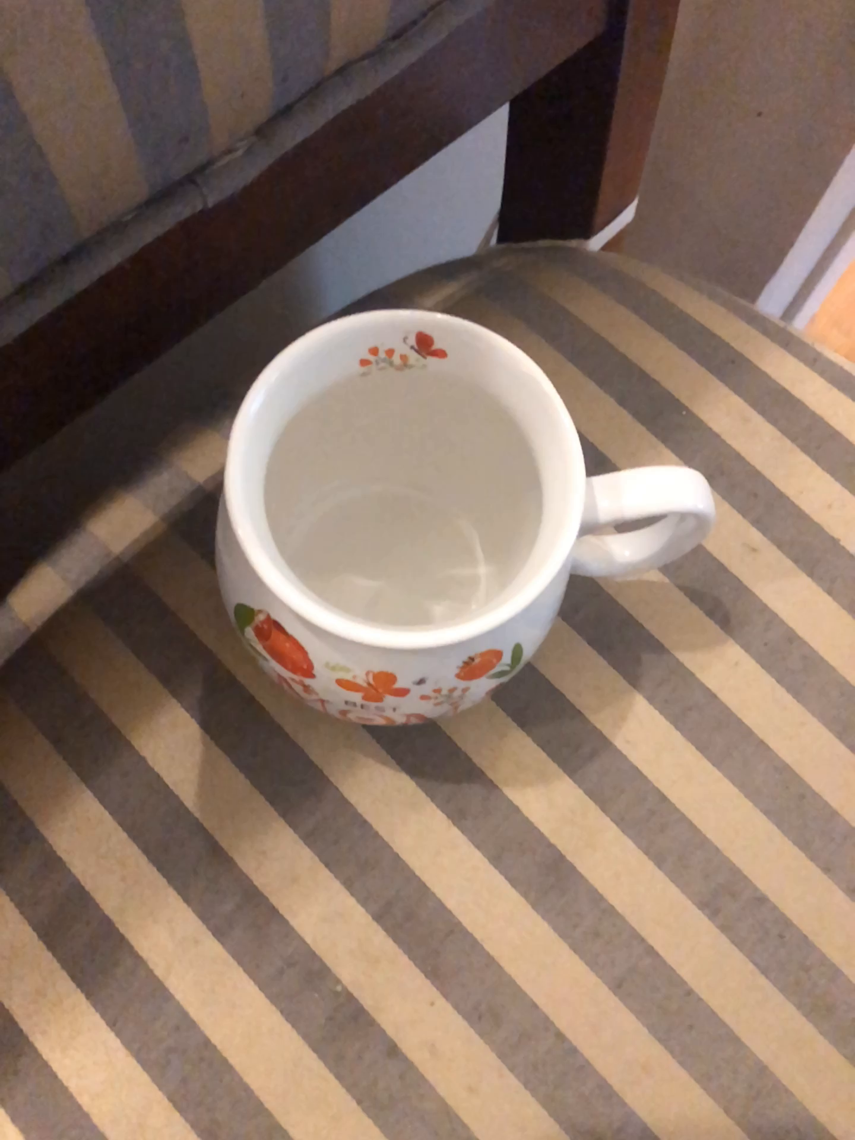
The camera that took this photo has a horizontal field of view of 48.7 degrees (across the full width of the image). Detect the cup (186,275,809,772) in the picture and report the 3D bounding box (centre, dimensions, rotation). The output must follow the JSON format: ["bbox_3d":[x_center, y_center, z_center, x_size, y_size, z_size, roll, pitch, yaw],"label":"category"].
[{"bbox_3d":[0.011,-0.009,0.272,0.140,0.090,0.110,-3,70,-4],"label":"cup"}]
